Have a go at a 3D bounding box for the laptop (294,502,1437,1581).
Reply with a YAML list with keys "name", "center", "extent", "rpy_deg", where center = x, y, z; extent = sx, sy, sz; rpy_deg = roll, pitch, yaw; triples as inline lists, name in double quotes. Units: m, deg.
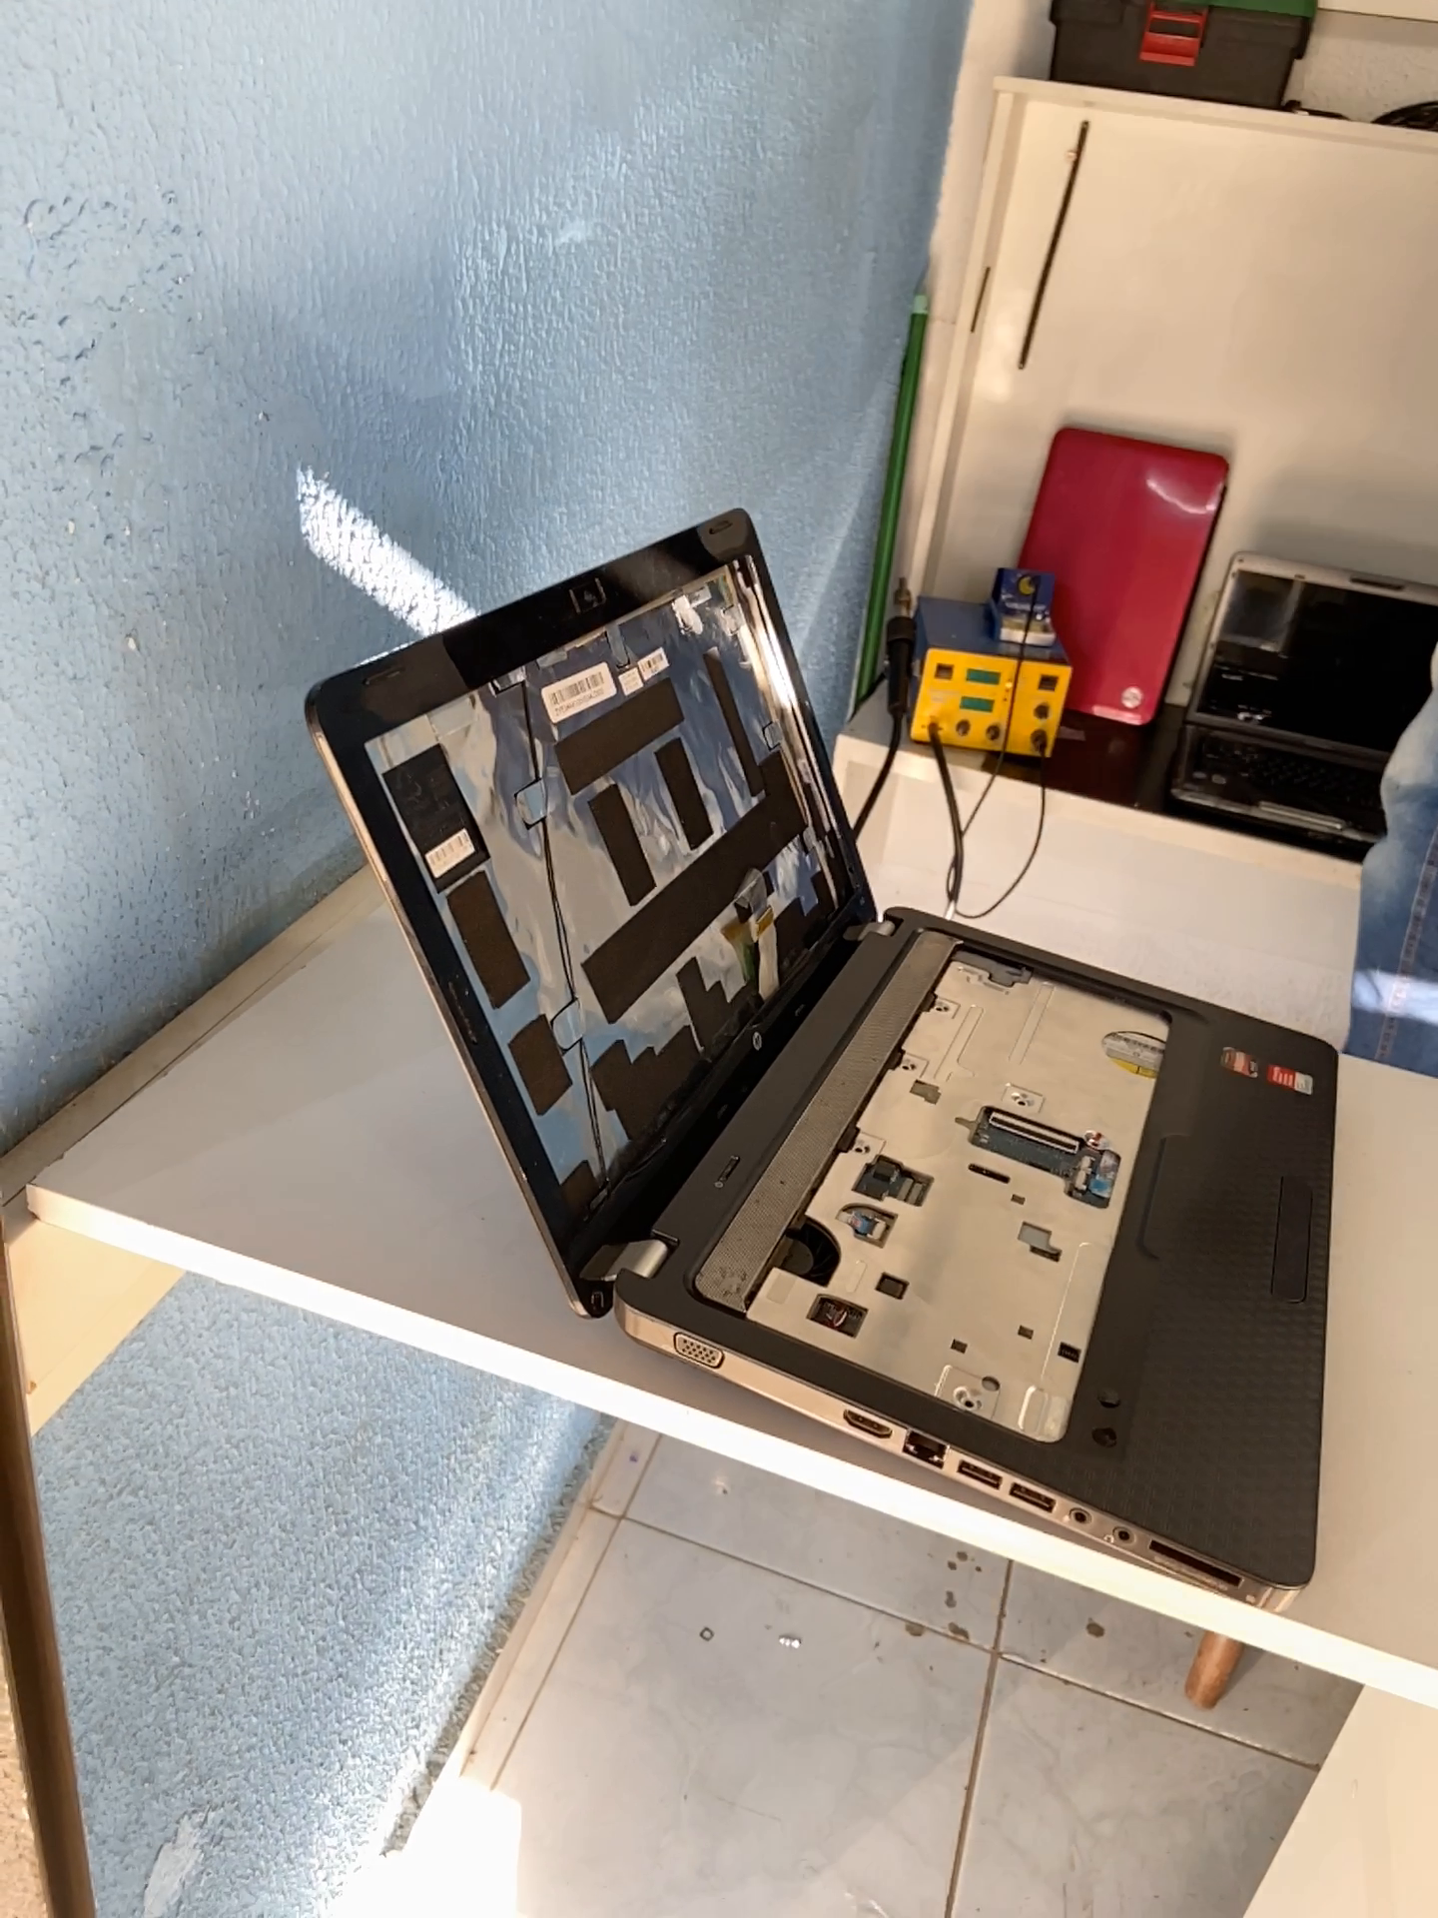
- name: "laptop"
  center: [0.089, -0.020, 0.573]
  extent: [0.349, 0.179, 0.340]
  rpy_deg: [19, 30, 15]
